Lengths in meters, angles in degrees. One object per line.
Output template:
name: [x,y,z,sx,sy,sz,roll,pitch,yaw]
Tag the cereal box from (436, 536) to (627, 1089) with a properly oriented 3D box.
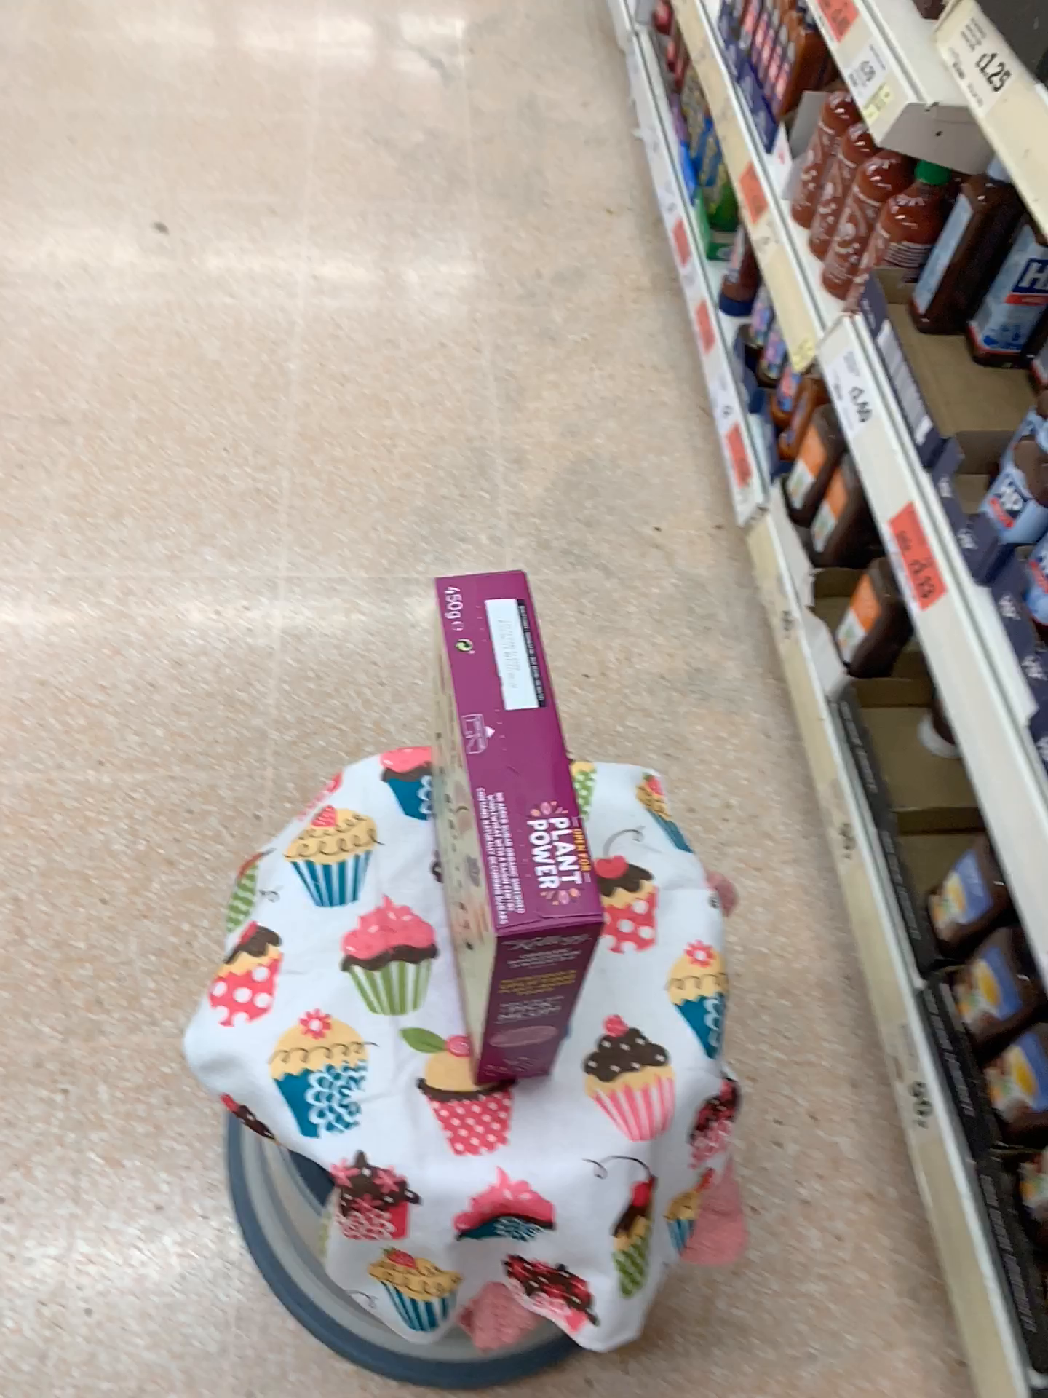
cereal box: [-0.010,0.072,0.585,0.050,0.248,0.201,-5,55,-9]
